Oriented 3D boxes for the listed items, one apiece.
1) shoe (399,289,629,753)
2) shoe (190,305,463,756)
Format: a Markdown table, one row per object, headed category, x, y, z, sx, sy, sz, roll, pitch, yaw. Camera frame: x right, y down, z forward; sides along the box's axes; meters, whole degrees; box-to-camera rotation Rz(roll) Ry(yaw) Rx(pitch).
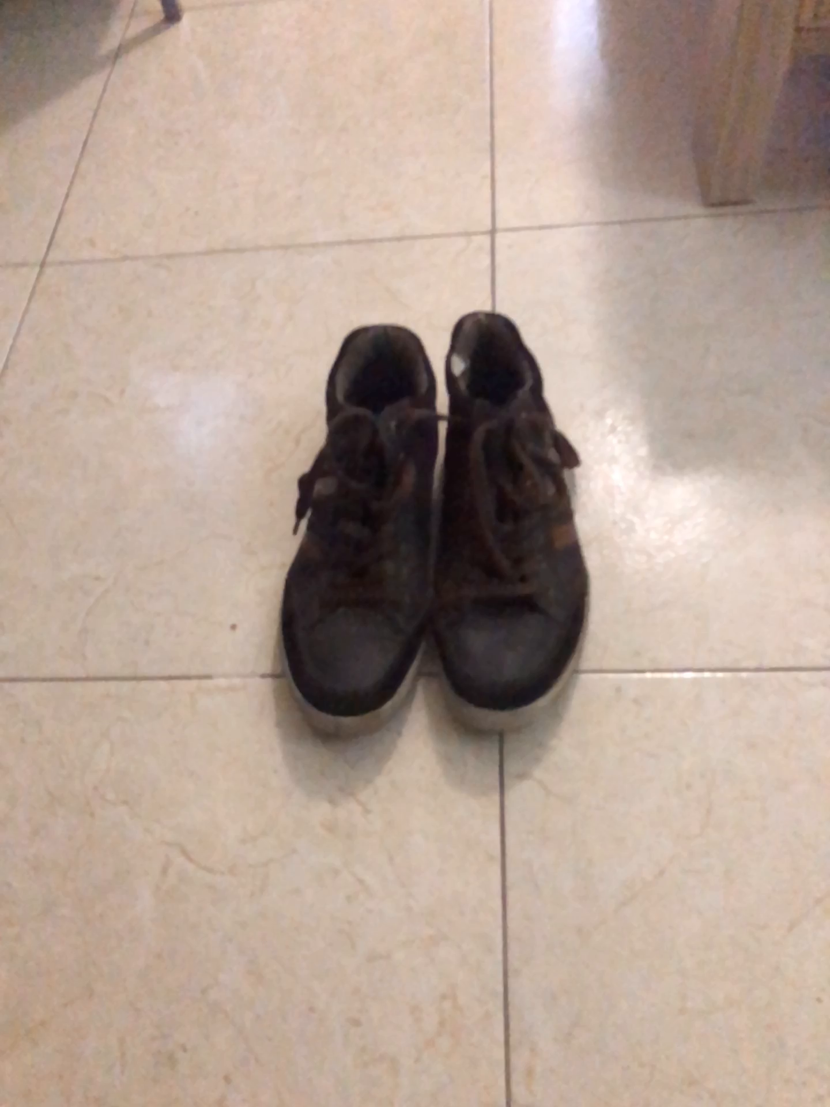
| category | x | y | z | sx | sy | sz | roll | pitch | yaw |
| --- | --- | --- | --- | --- | --- | --- | --- | --- | --- |
| shoe | 0.059 | -0.030 | 0.624 | 0.120 | 0.110 | 0.301 | -5 | 58 | 5 |
| shoe | -0.045 | -0.026 | 0.635 | 0.120 | 0.110 | 0.301 | 3 | 59 | 10 |
